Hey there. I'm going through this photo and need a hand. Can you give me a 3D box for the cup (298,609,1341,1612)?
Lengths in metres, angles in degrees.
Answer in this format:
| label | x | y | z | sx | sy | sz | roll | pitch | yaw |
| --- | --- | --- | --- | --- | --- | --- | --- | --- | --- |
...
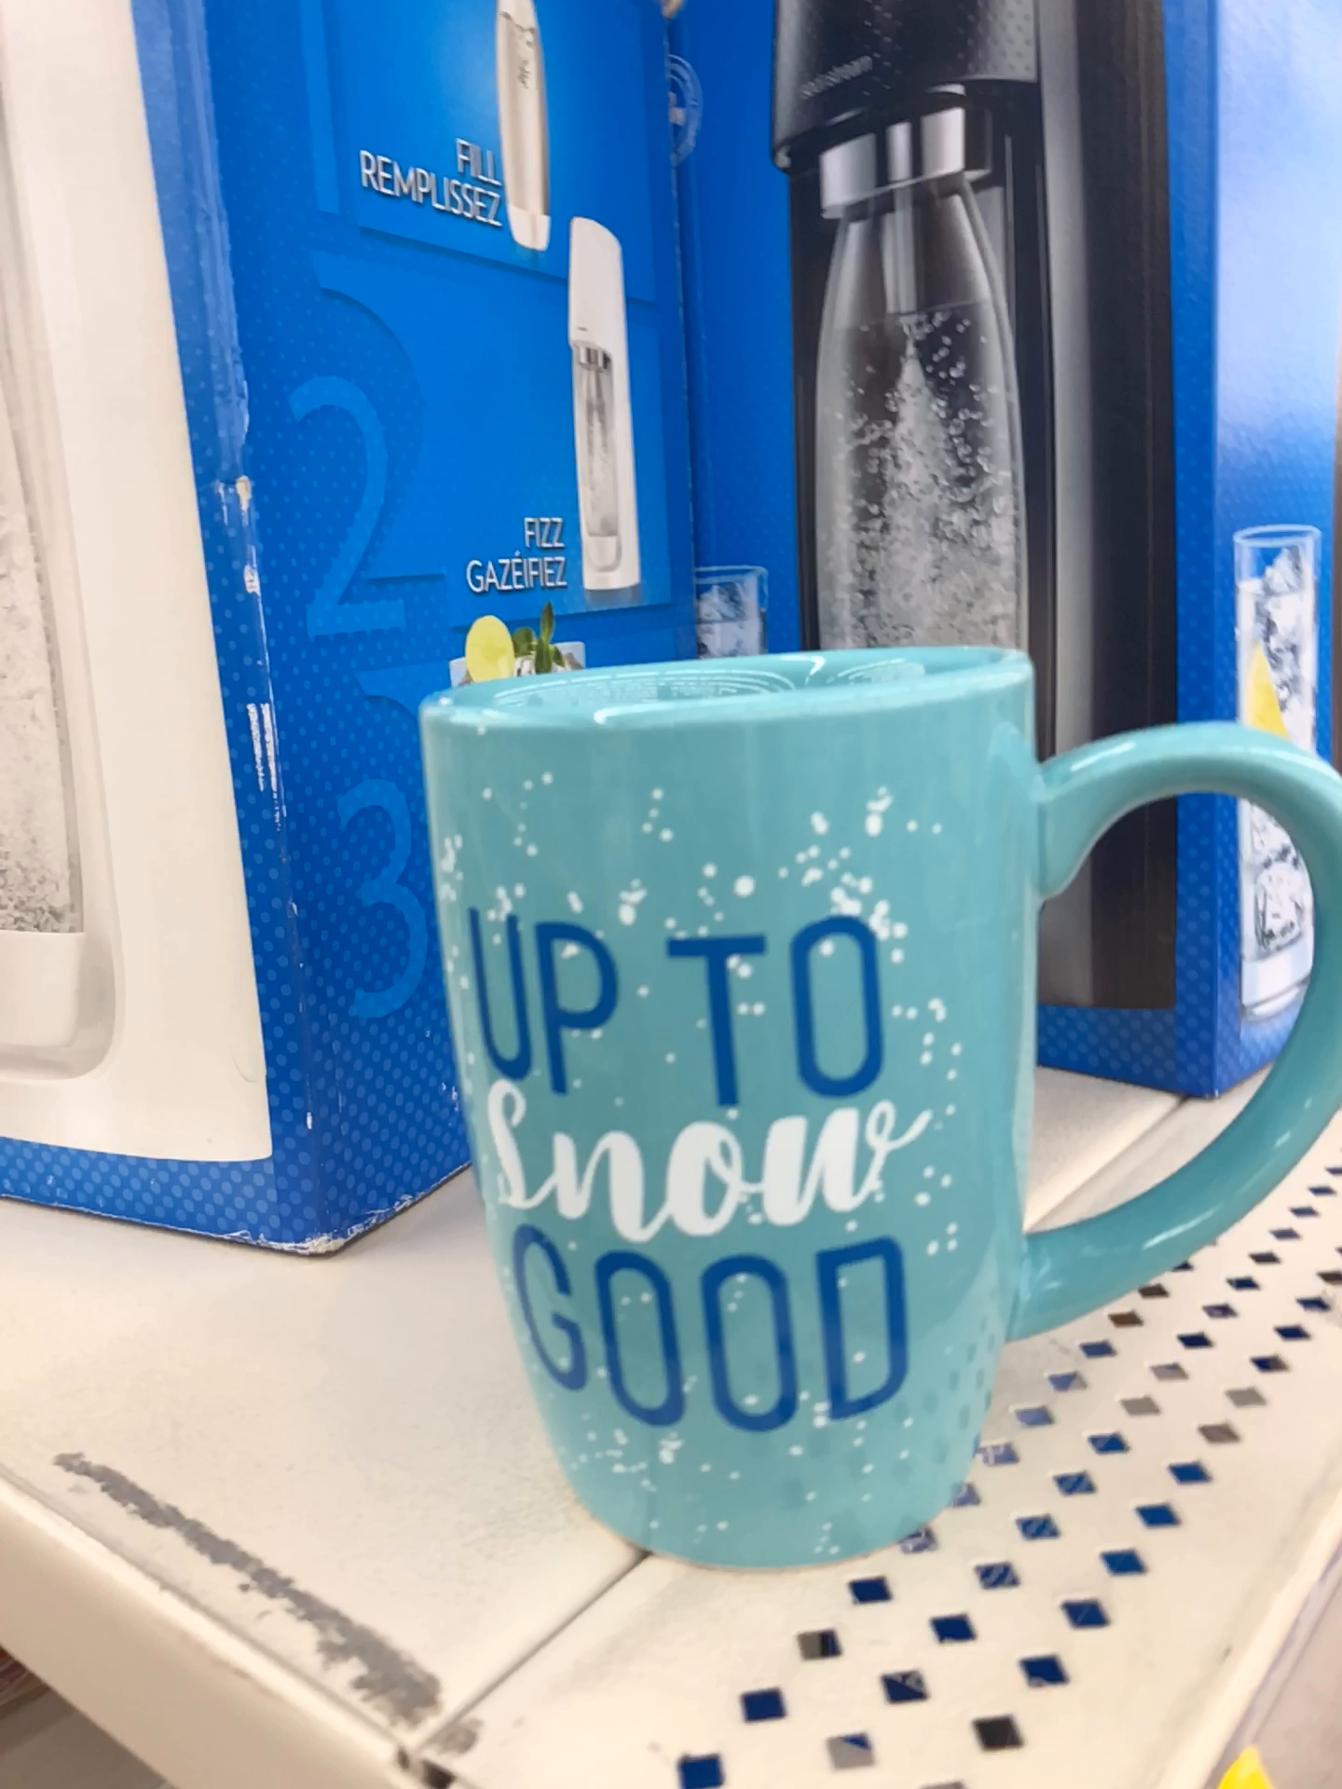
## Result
| label | x | y | z | sx | sy | sz | roll | pitch | yaw |
| --- | --- | --- | --- | --- | --- | --- | --- | --- | --- |
| cup | 0.029 | 0.022 | 0.229 | 0.140 | 0.120 | 0.090 | -3 | 12 | -1 |
